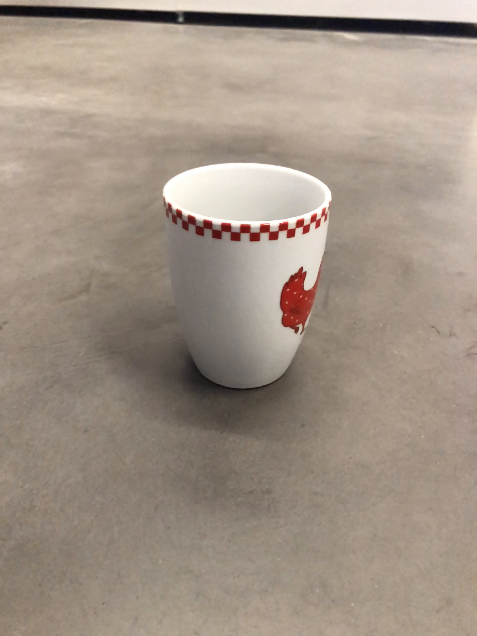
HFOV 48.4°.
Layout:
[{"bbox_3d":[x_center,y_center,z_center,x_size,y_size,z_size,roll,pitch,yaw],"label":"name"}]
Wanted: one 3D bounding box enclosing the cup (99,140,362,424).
[{"bbox_3d":[0.002,-0.026,0.273,0.087,0.092,0.103,15,36,19],"label":"cup"}]
